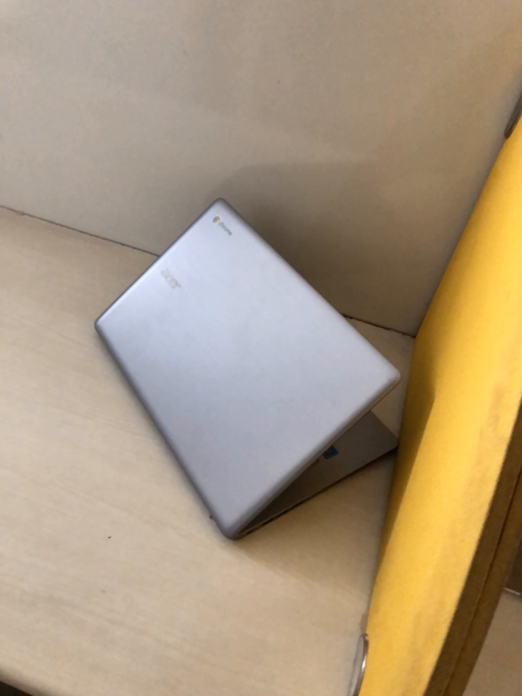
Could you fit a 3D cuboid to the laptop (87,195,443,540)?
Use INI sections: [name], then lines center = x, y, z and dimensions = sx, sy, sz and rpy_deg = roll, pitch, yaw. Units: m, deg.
[laptop]
center = -0.016, -0.005, 0.625
dimensions = 0.222, 0.134, 0.316
rpy_deg = -21, 53, -27
